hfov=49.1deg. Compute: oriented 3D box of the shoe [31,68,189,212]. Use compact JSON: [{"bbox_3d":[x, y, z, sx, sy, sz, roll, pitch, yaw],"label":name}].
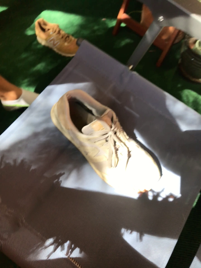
[{"bbox_3d":[0.009,0.003,0.460,0.287,0.104,0.125,39,67,20],"label":"shoe"}]
